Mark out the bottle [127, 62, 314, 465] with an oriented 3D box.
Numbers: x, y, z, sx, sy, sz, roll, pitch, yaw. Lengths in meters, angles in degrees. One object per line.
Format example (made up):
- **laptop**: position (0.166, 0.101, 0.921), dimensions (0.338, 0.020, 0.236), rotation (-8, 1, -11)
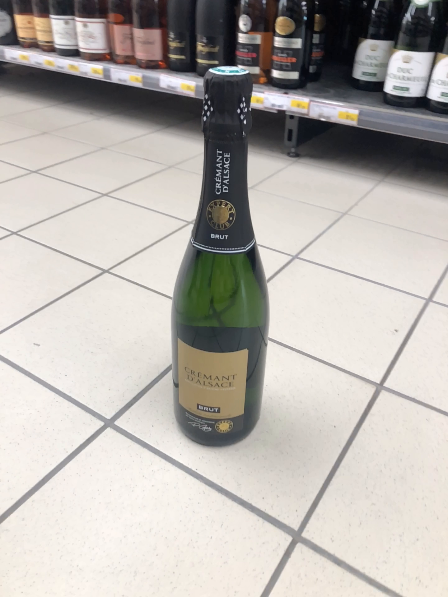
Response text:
- **bottle**: position (-0.002, -0.014, 0.401), dimensions (0.100, 0.308, 0.091), rotation (10, 33, 12)
